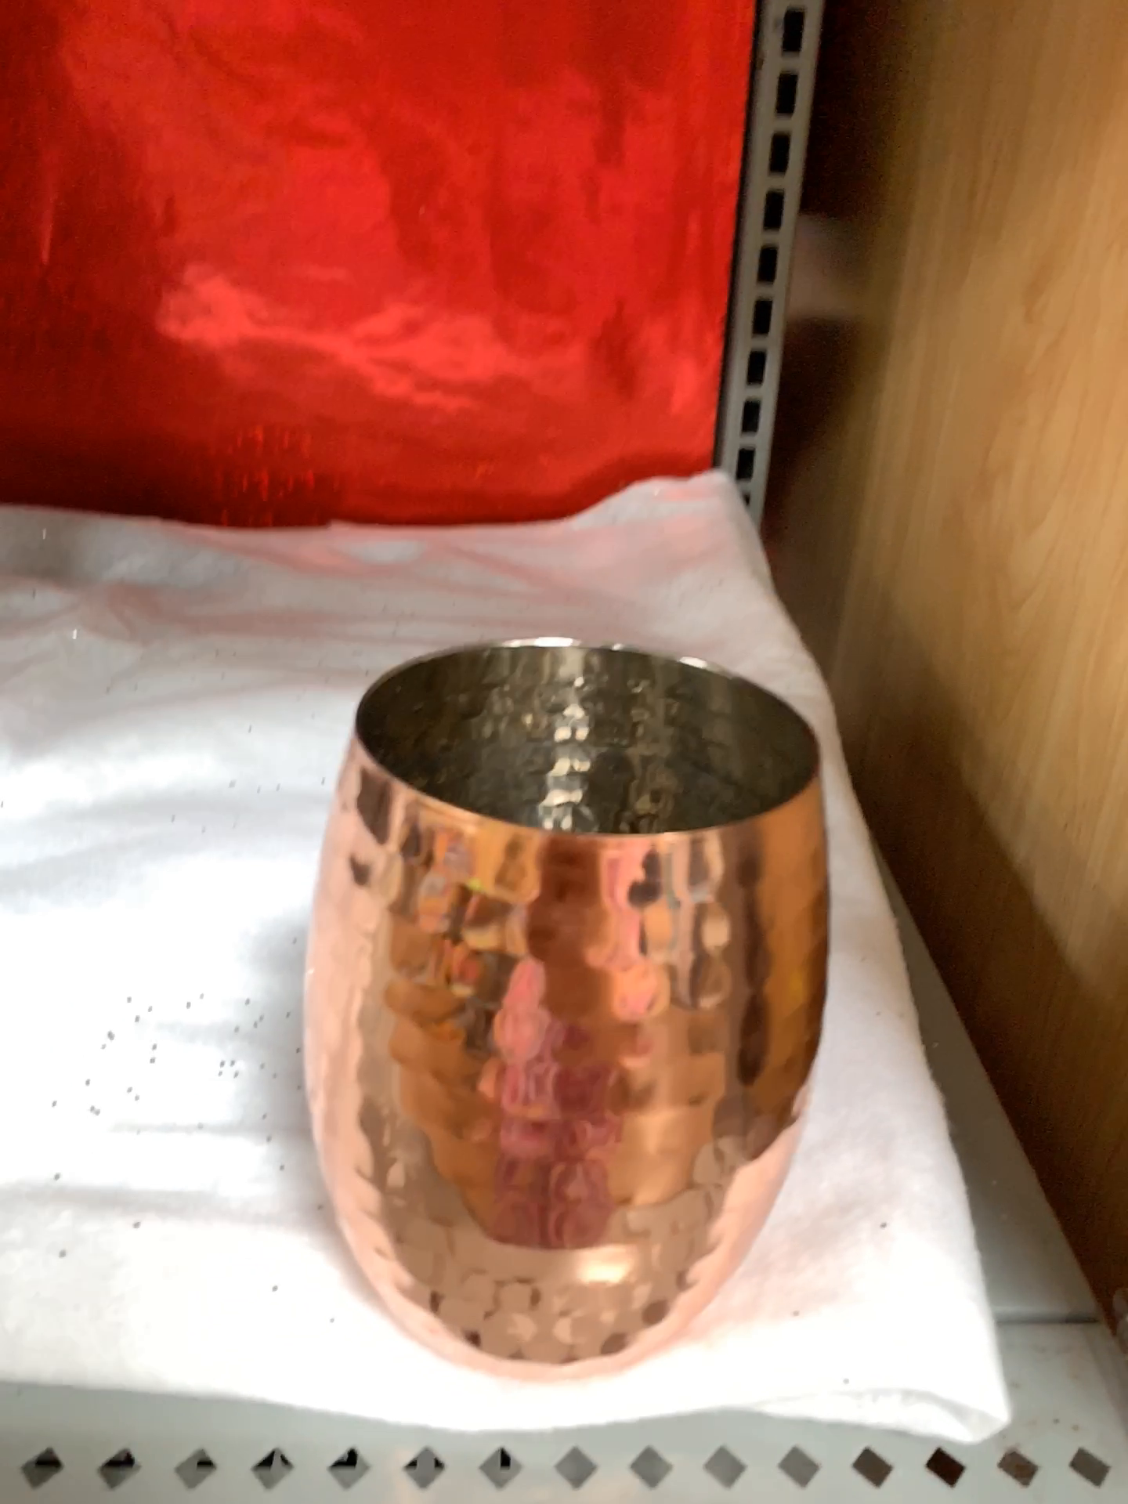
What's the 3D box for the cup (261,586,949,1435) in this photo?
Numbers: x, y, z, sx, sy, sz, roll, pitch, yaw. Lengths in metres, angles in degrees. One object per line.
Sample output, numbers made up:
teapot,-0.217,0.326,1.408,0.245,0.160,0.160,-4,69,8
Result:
cup,0.005,0.038,0.192,0.078,0.104,0.080,2,28,-1
